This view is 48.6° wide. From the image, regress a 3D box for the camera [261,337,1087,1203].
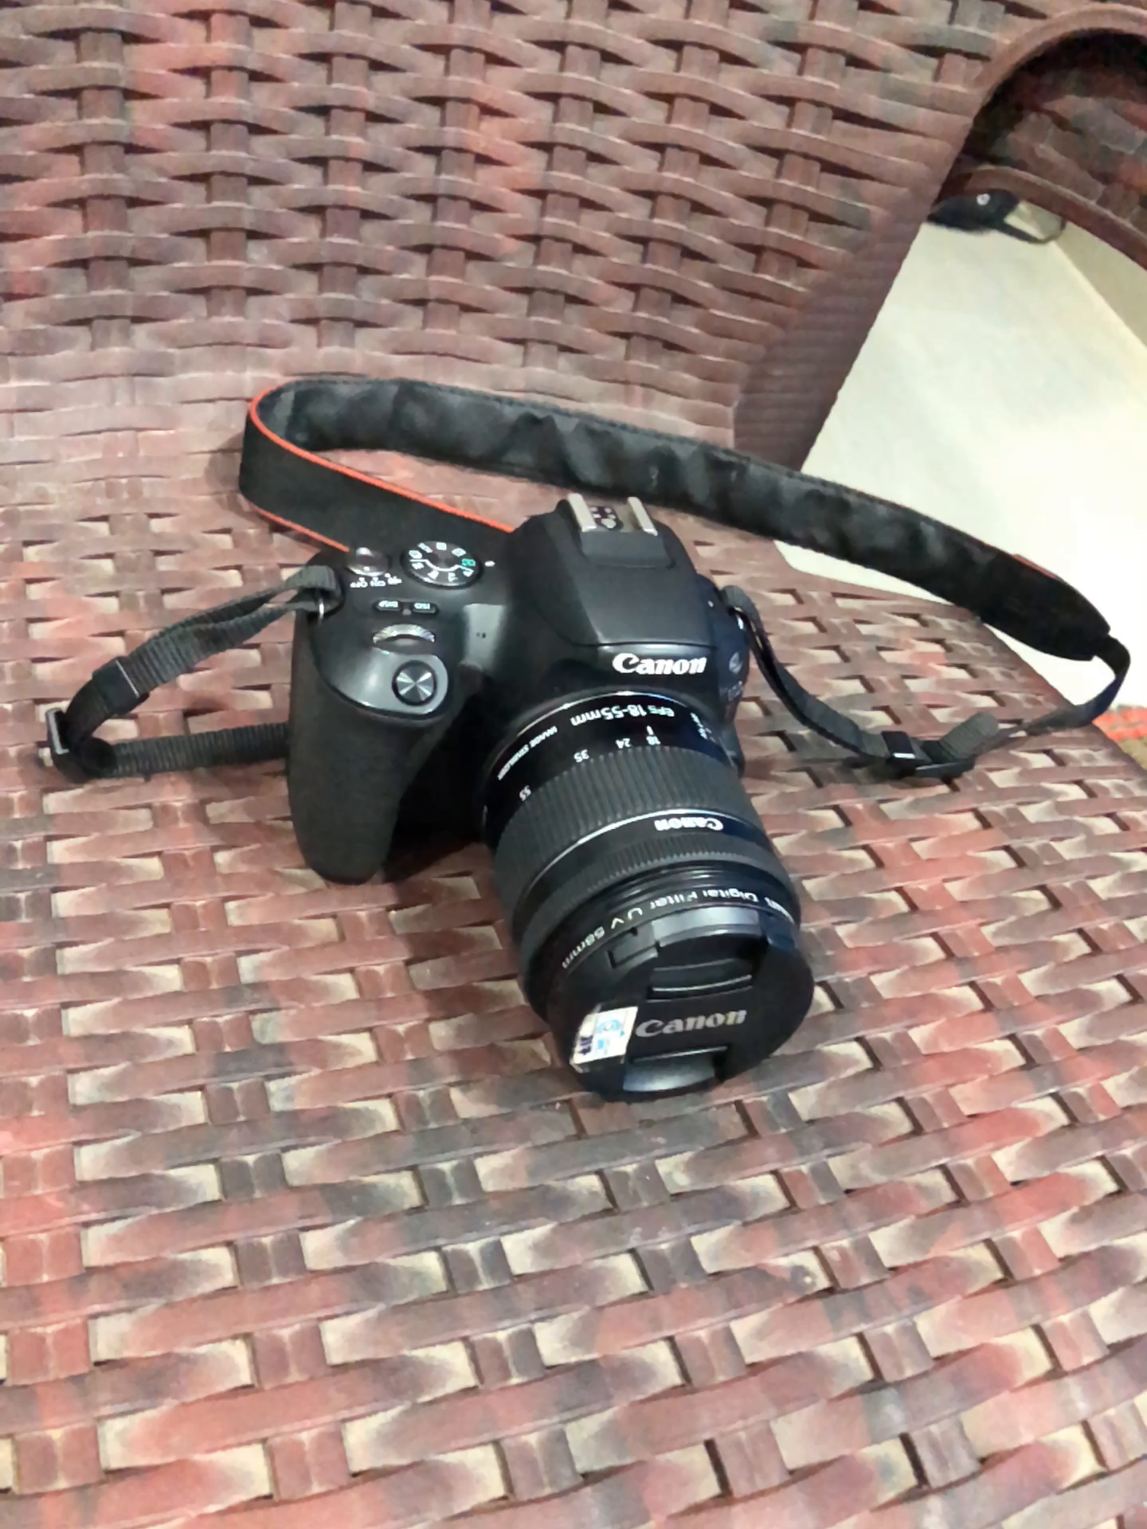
[{"bbox_3d":[0.004,-0.003,0.320,0.140,0.109,0.171,-1,52,-20],"label":"camera"}]
